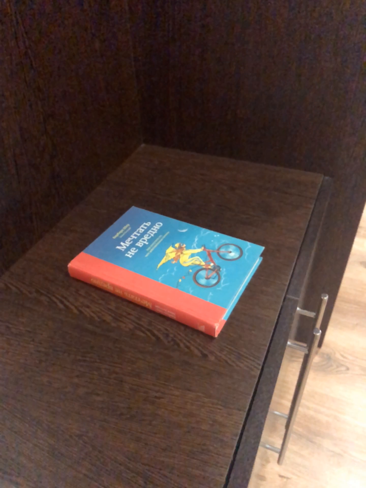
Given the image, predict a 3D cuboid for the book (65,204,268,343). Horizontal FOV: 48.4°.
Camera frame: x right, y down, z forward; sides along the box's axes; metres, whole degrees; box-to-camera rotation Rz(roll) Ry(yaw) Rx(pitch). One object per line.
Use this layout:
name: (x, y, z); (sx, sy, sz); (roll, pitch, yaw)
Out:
book: (-0.019, 0.024, 0.519); (0.211, 0.025, 0.146); (18, 44, 22)
